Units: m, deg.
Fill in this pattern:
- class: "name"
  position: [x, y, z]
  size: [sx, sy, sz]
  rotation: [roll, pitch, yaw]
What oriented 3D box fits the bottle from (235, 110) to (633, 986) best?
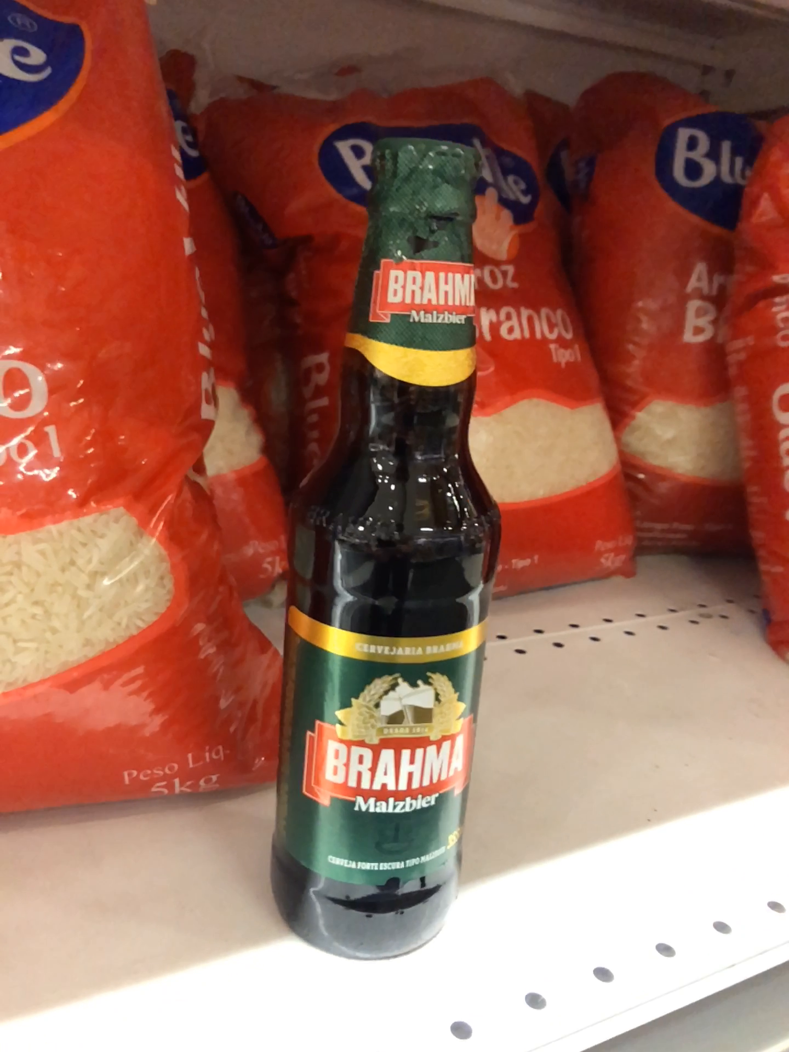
- class: "bottle"
  position: [0.001, 0.011, 0.255]
  size: [0.070, 0.229, 0.060]
  rotation: [-3, 21, -25]
